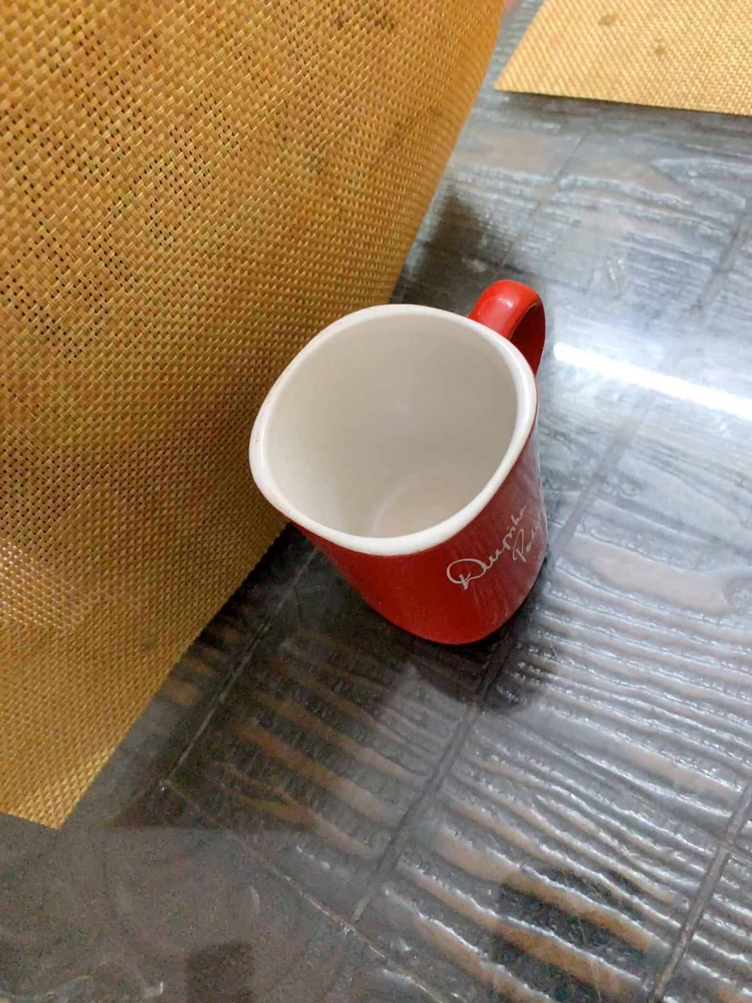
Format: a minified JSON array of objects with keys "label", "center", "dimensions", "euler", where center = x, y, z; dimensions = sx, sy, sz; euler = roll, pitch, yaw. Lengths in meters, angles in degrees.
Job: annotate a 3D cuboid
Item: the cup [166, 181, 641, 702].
[{"label":"cup","center":[0.016,-0.015,0.219],"dimensions":[0.070,0.080,0.100],"euler":[29,75,27]}]
